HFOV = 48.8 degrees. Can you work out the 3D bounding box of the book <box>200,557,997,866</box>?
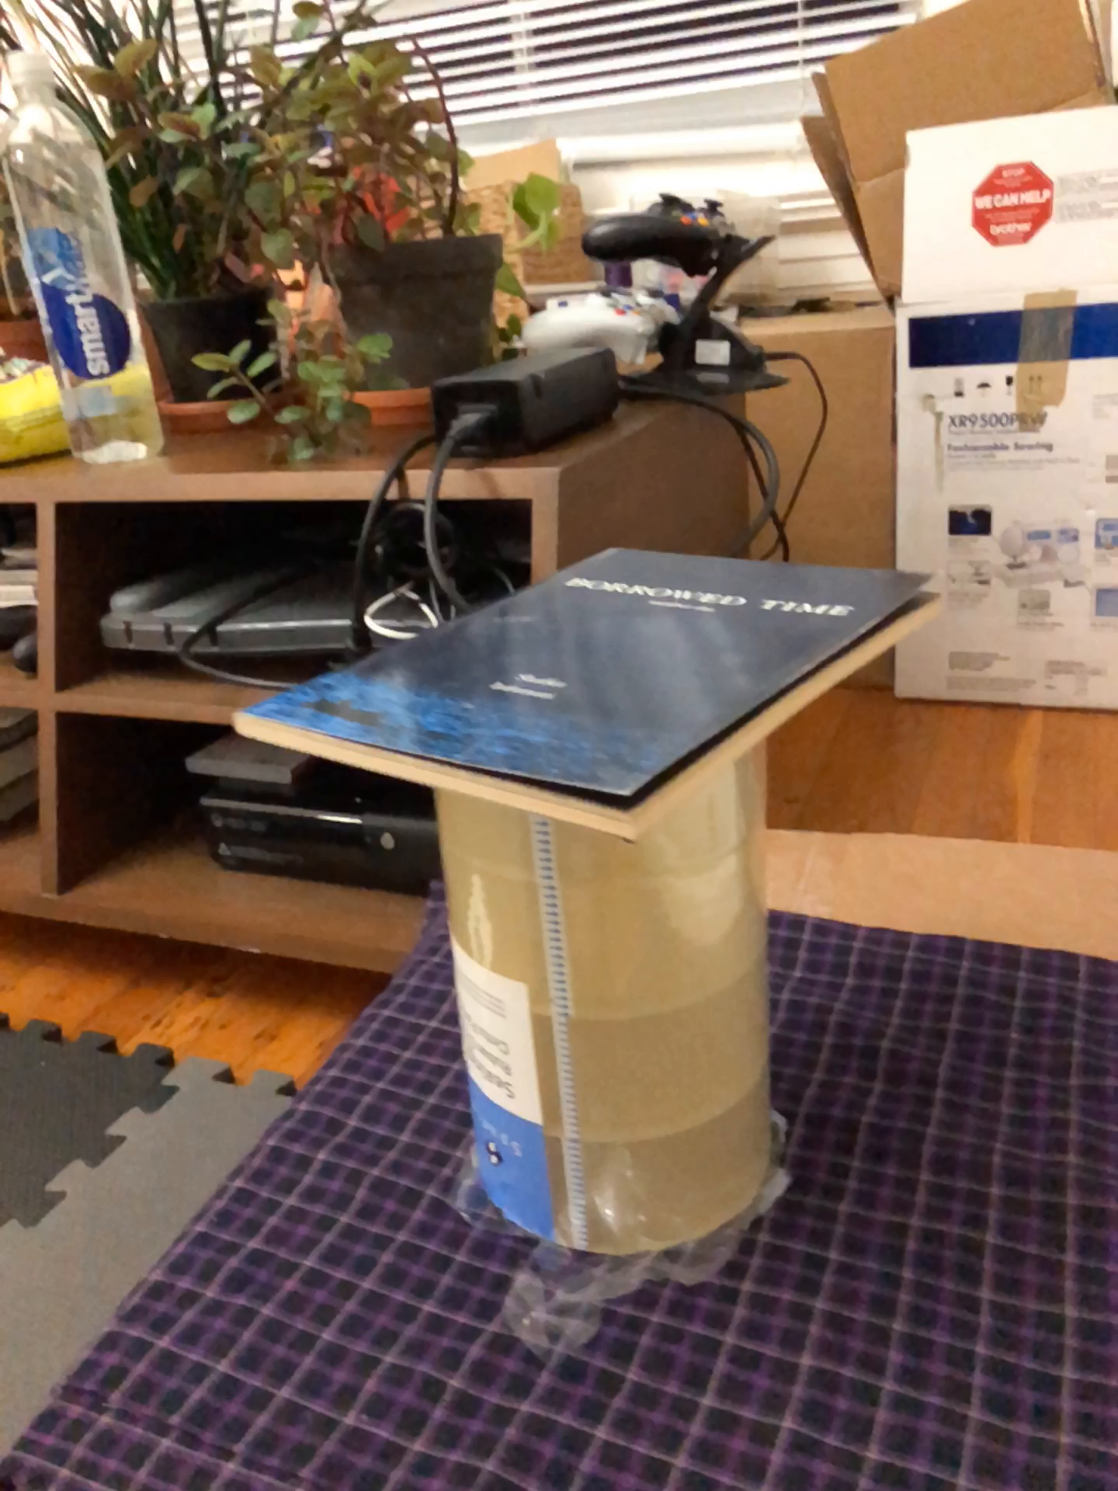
[{"bbox_3d":[0.026,-0.027,0.406,0.160,0.010,0.231,12,25,35],"label":"book"}]
